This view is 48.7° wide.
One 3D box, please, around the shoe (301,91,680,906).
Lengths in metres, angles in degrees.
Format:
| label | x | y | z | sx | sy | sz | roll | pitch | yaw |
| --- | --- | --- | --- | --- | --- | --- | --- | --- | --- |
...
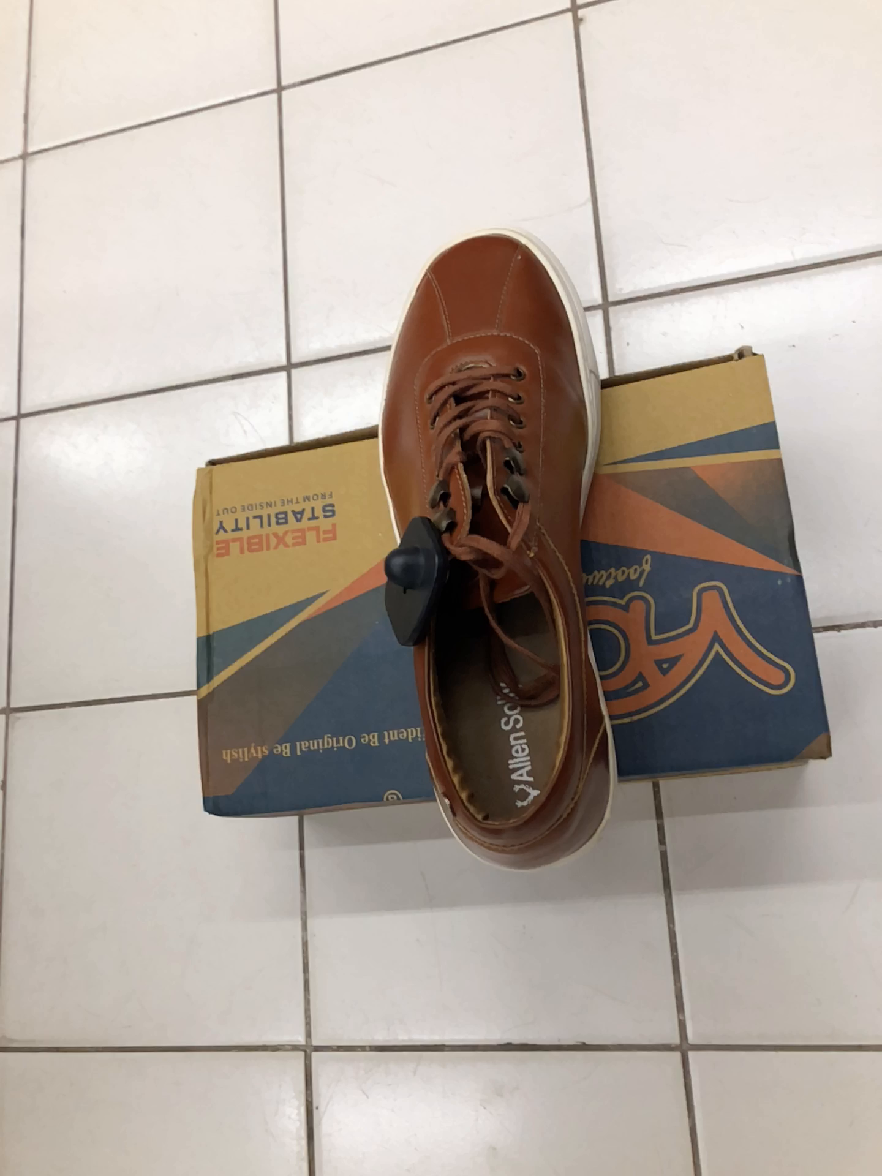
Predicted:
| label | x | y | z | sx | sy | sz | roll | pitch | yaw |
| --- | --- | --- | --- | --- | --- | --- | --- | --- | --- |
| shoe | 0.022 | -0.029 | 0.392 | 0.100 | 0.110 | 0.280 | -9 | 77 | 15 |
